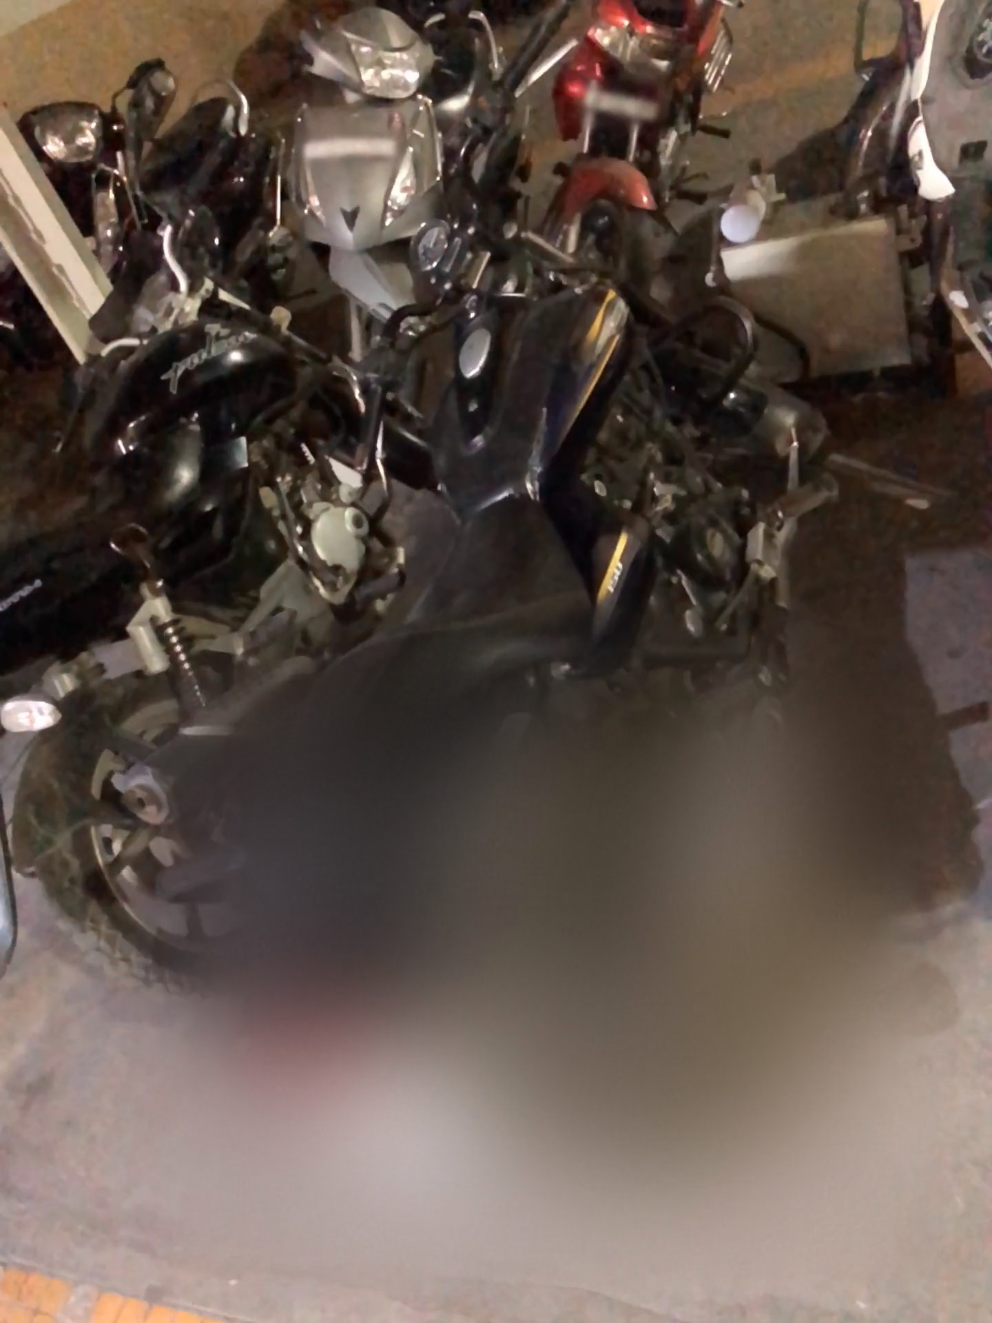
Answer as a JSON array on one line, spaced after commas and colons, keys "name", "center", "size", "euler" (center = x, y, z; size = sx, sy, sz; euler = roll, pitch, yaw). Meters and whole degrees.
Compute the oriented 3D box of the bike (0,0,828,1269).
[{"name": "bike", "center": [-0.079, -0.223, 1.751], "size": [0.864, 1.251, 1.675], "euler": [-9, 42, 21]}]
